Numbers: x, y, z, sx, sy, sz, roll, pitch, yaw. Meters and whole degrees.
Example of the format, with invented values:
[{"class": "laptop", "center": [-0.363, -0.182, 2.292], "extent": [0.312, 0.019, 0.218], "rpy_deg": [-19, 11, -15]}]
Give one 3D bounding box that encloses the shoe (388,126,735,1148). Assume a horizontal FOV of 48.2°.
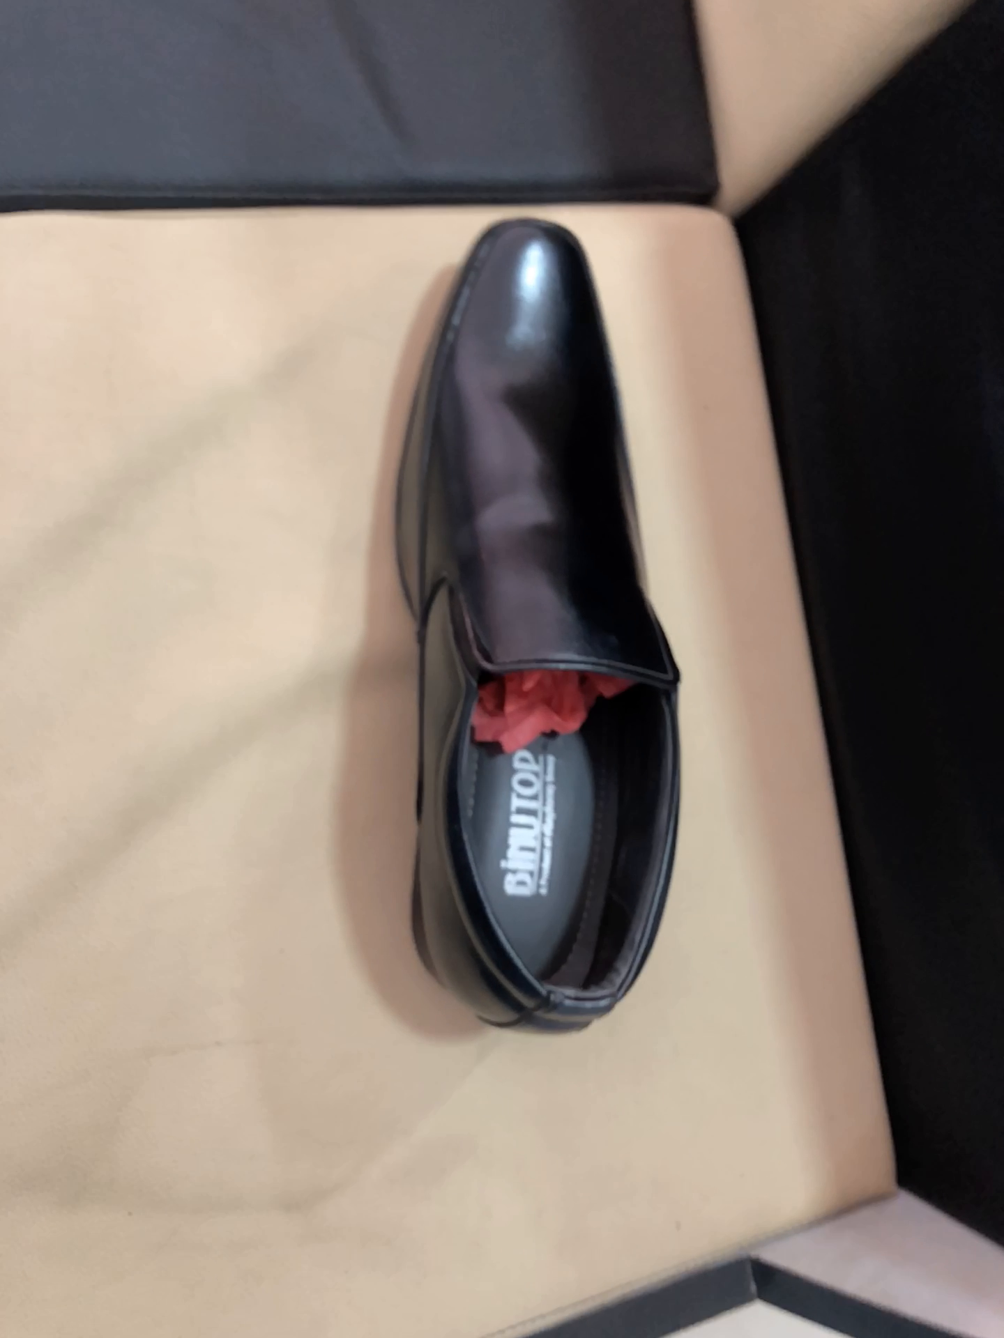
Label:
[{"class": "shoe", "center": [0.018, -0.011, 0.404], "extent": [0.100, 0.080, 0.320], "rpy_deg": [1, 86, -17]}]
